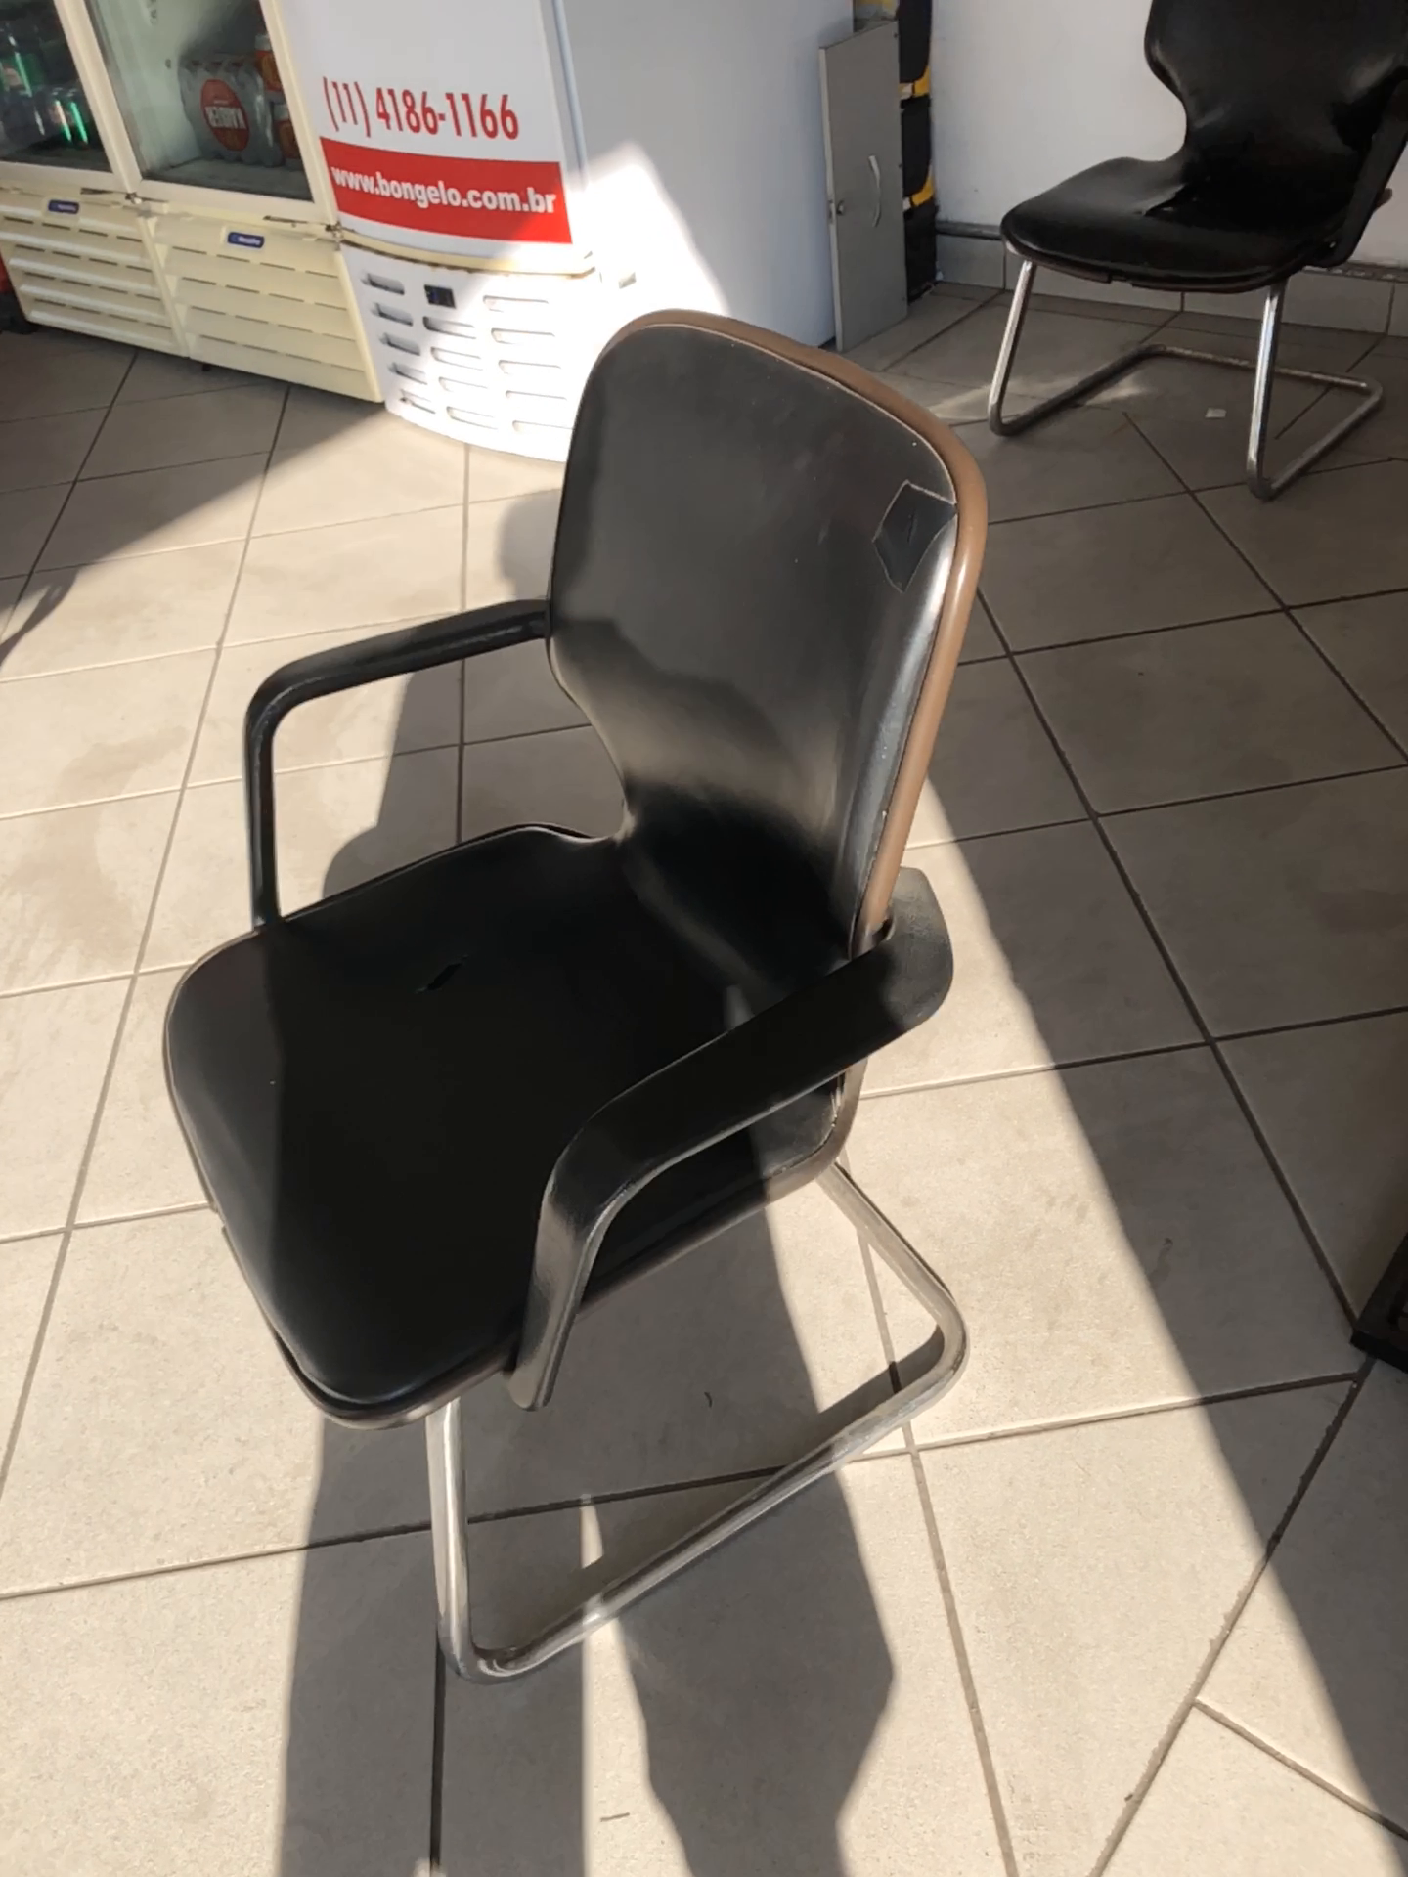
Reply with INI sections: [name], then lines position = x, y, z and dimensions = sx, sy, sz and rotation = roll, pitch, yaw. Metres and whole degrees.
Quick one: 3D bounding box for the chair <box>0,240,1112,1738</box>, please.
[chair]
position = -0.126, 0.023, 1.199
dimensions = 0.581, 0.824, 0.583
rotation = -25, 42, -18
